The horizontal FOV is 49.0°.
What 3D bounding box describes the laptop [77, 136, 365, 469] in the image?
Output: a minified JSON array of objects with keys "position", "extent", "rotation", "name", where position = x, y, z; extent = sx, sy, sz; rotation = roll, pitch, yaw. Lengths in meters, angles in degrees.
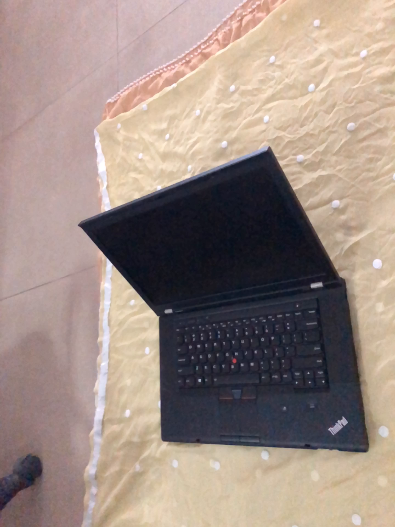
[{"position":[0.011,0.083,0.670],"extent":[0.365,0.191,0.381],"rotation":[-14,73,35],"name":"laptop"}]
